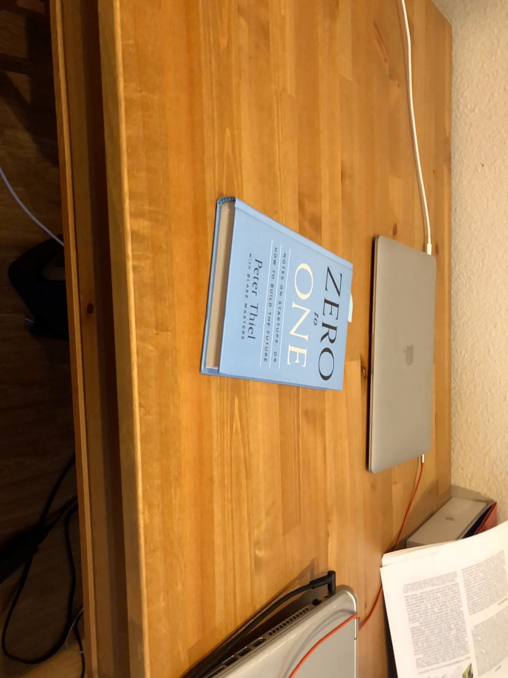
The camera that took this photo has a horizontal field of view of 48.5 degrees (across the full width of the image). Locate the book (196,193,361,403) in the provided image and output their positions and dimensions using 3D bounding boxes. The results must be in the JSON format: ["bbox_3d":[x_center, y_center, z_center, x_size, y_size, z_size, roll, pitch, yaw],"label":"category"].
[{"bbox_3d":[0.035,-0.023,0.517,0.211,0.030,0.150,13,80,-54],"label":"book"}]
